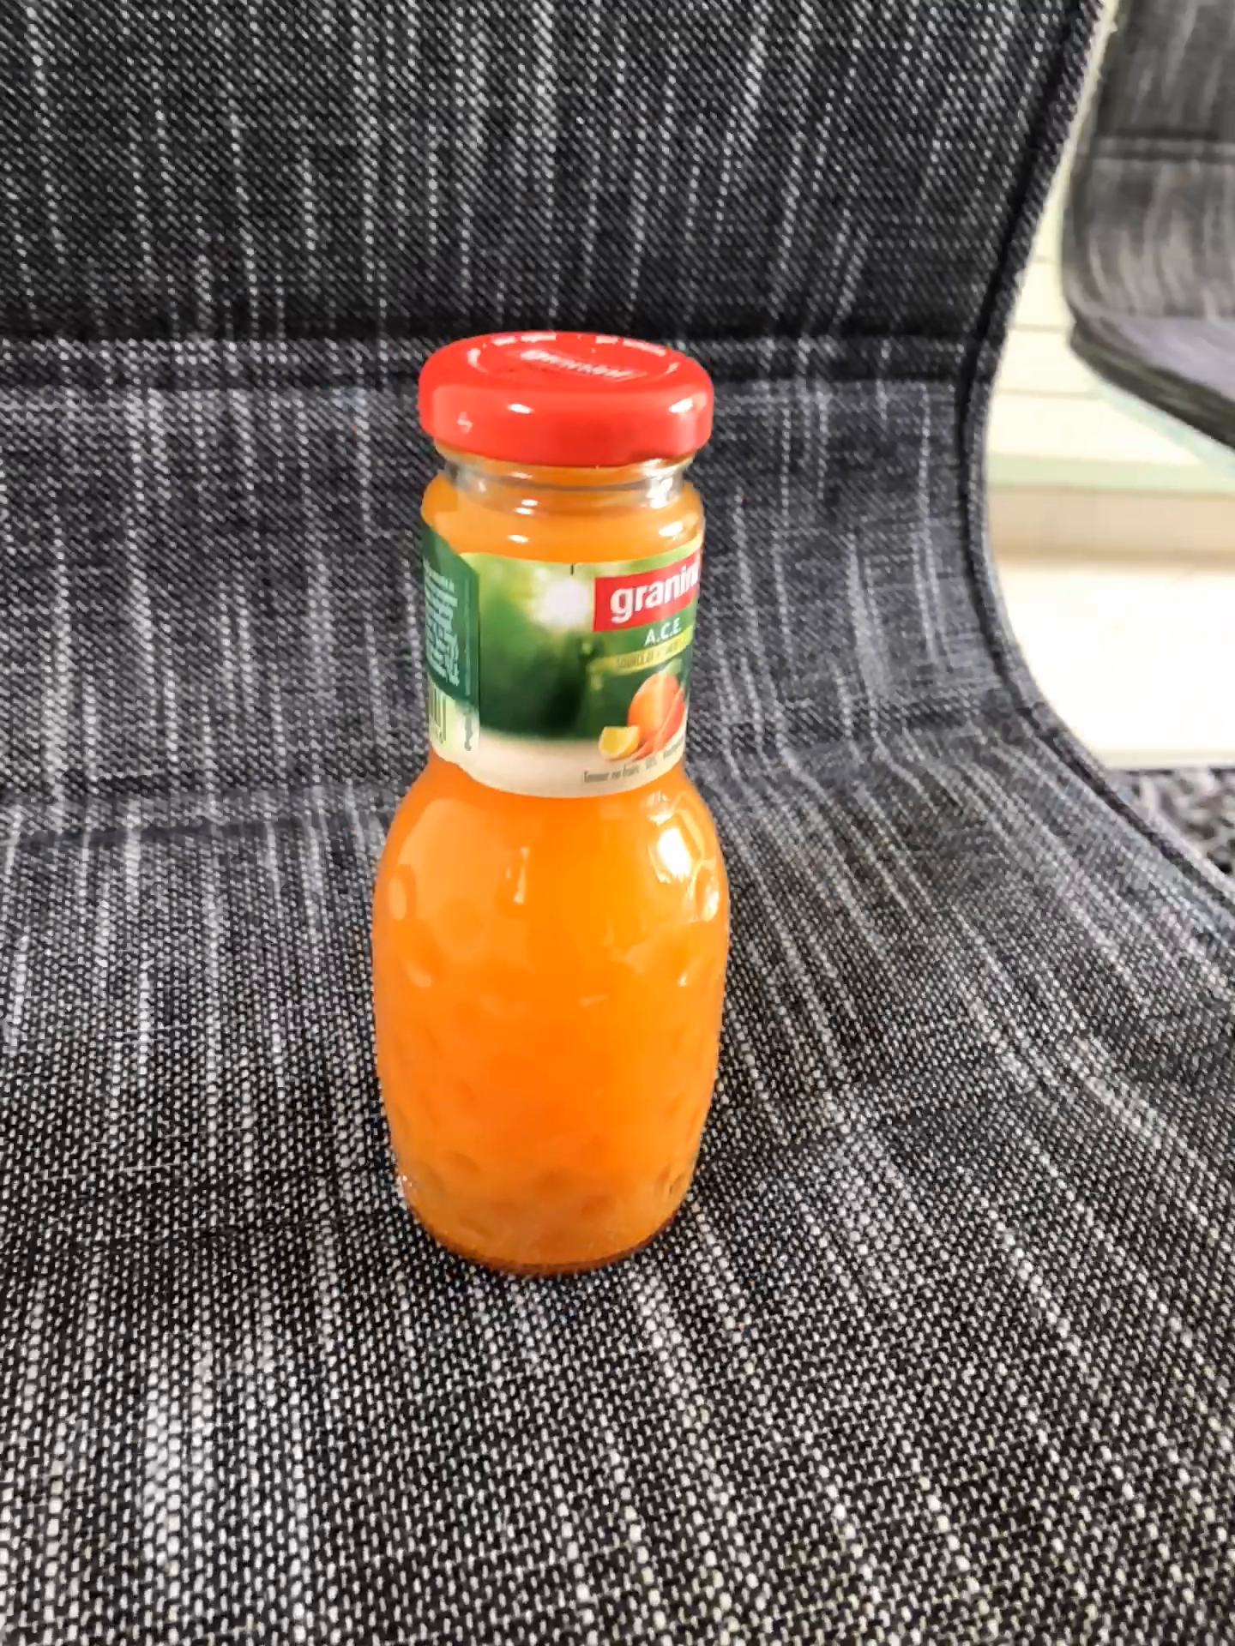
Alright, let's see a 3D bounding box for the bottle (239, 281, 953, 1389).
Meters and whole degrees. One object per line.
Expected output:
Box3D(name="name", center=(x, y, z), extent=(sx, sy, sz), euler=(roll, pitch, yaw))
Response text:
Box3D(name="bottle", center=(-0.008, 0.002, 0.217), extent=(0.070, 0.149, 0.060), euler=(-24, 42, -38))
